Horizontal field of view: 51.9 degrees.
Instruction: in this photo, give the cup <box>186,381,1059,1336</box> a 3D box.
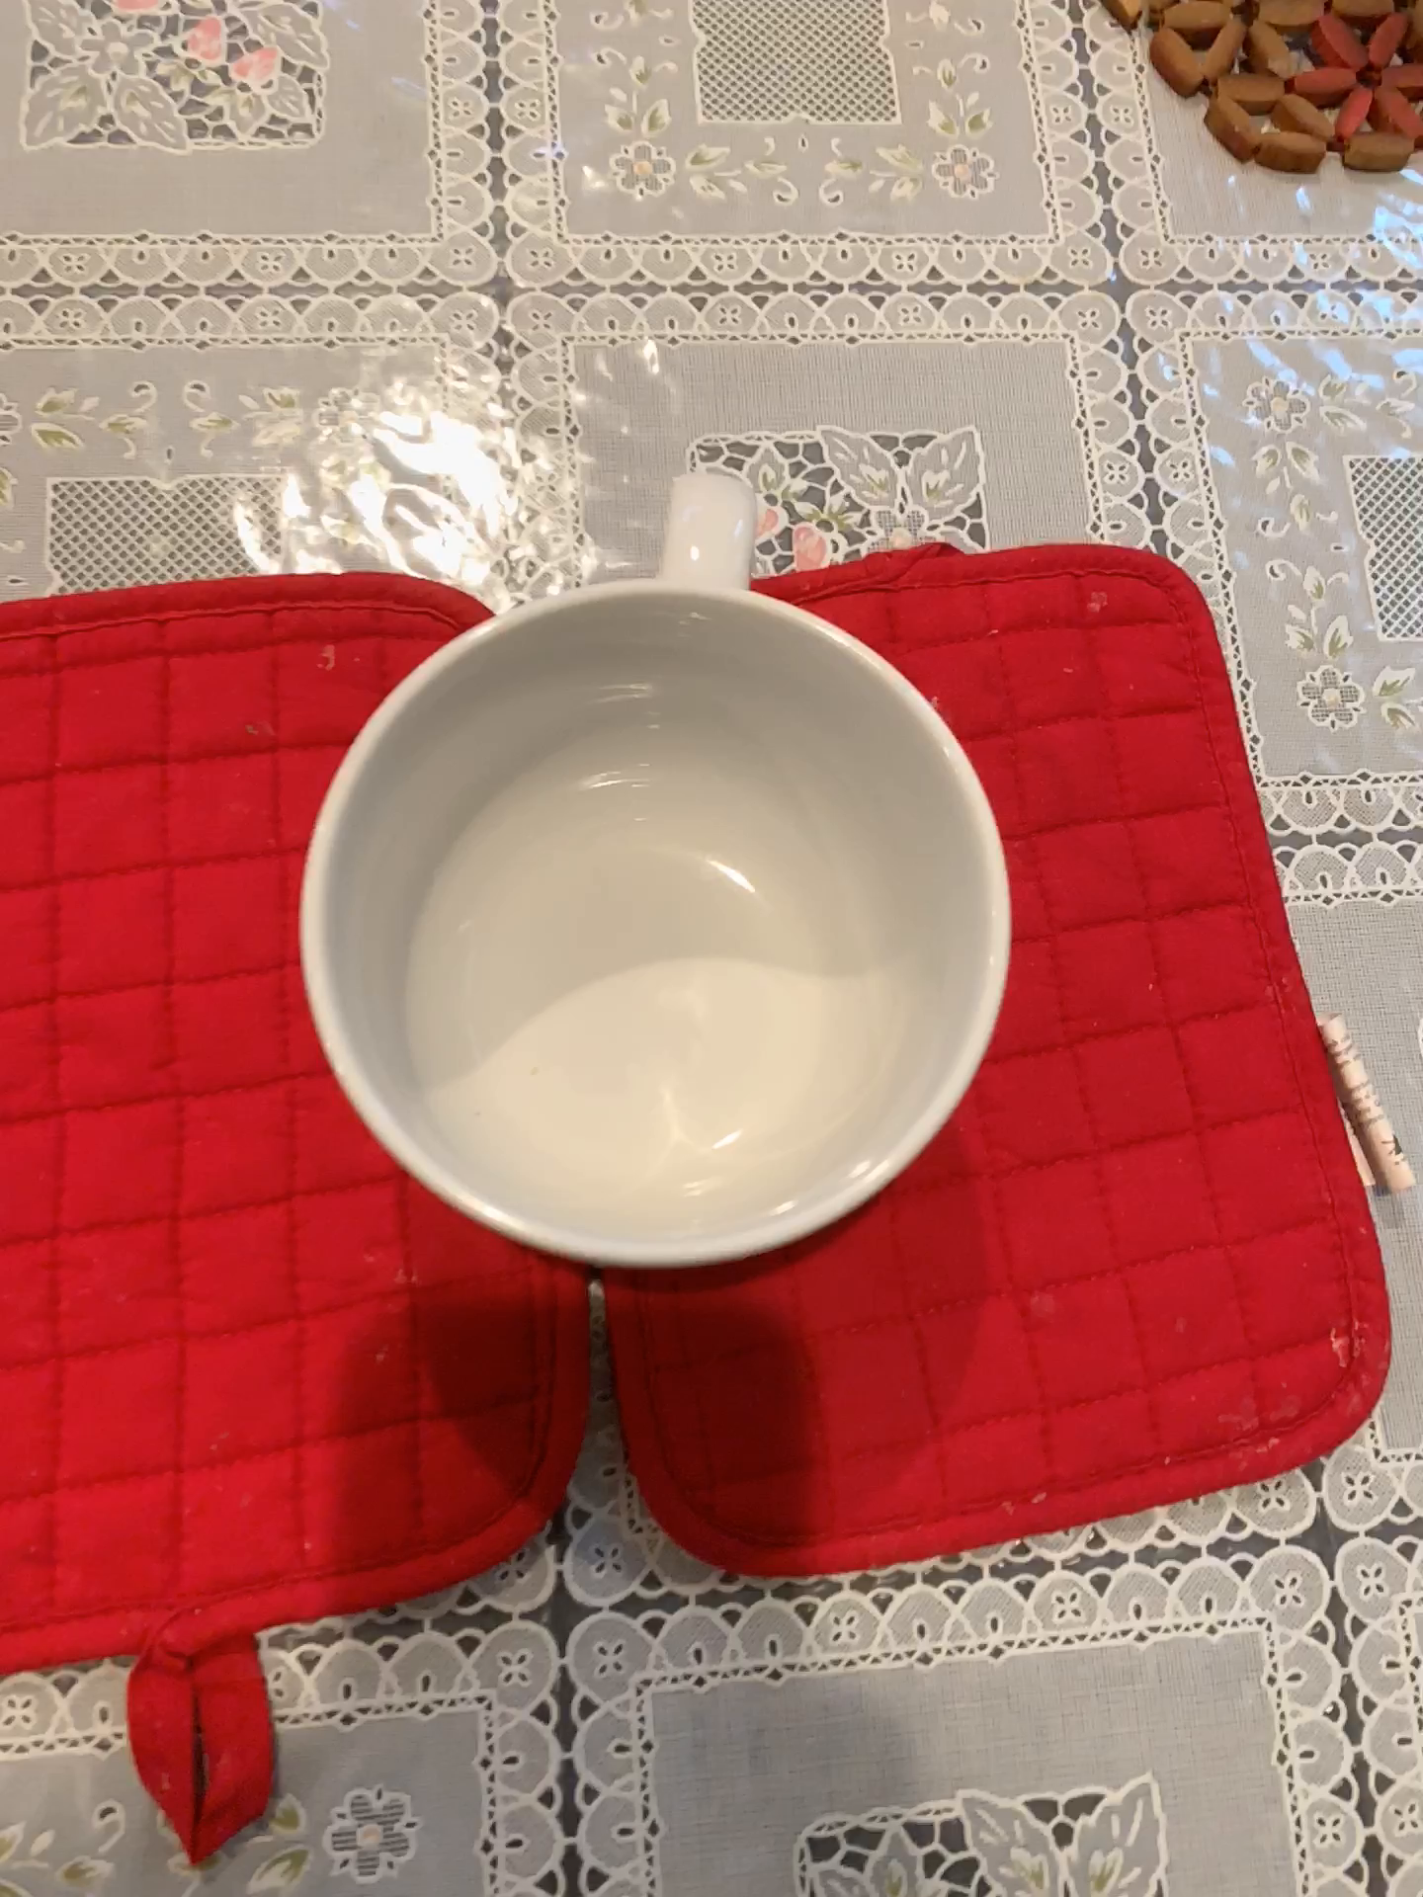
[{"bbox_3d":[-0.011,-0.009,0.264,0.120,0.080,0.140,6,76,-4],"label":"cup"}]
